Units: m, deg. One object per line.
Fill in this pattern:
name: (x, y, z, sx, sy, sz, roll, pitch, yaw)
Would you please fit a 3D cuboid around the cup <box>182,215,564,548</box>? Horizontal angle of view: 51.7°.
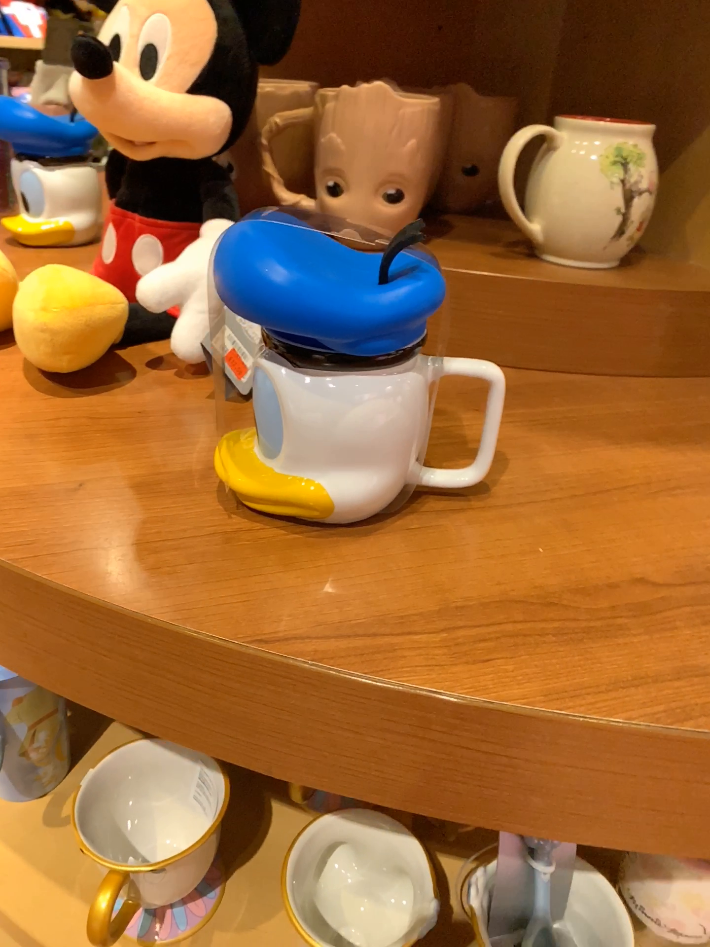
cup: (0.008, -0.049, 0.364, 0.149, 0.132, 0.106, 1, 30, 1)
